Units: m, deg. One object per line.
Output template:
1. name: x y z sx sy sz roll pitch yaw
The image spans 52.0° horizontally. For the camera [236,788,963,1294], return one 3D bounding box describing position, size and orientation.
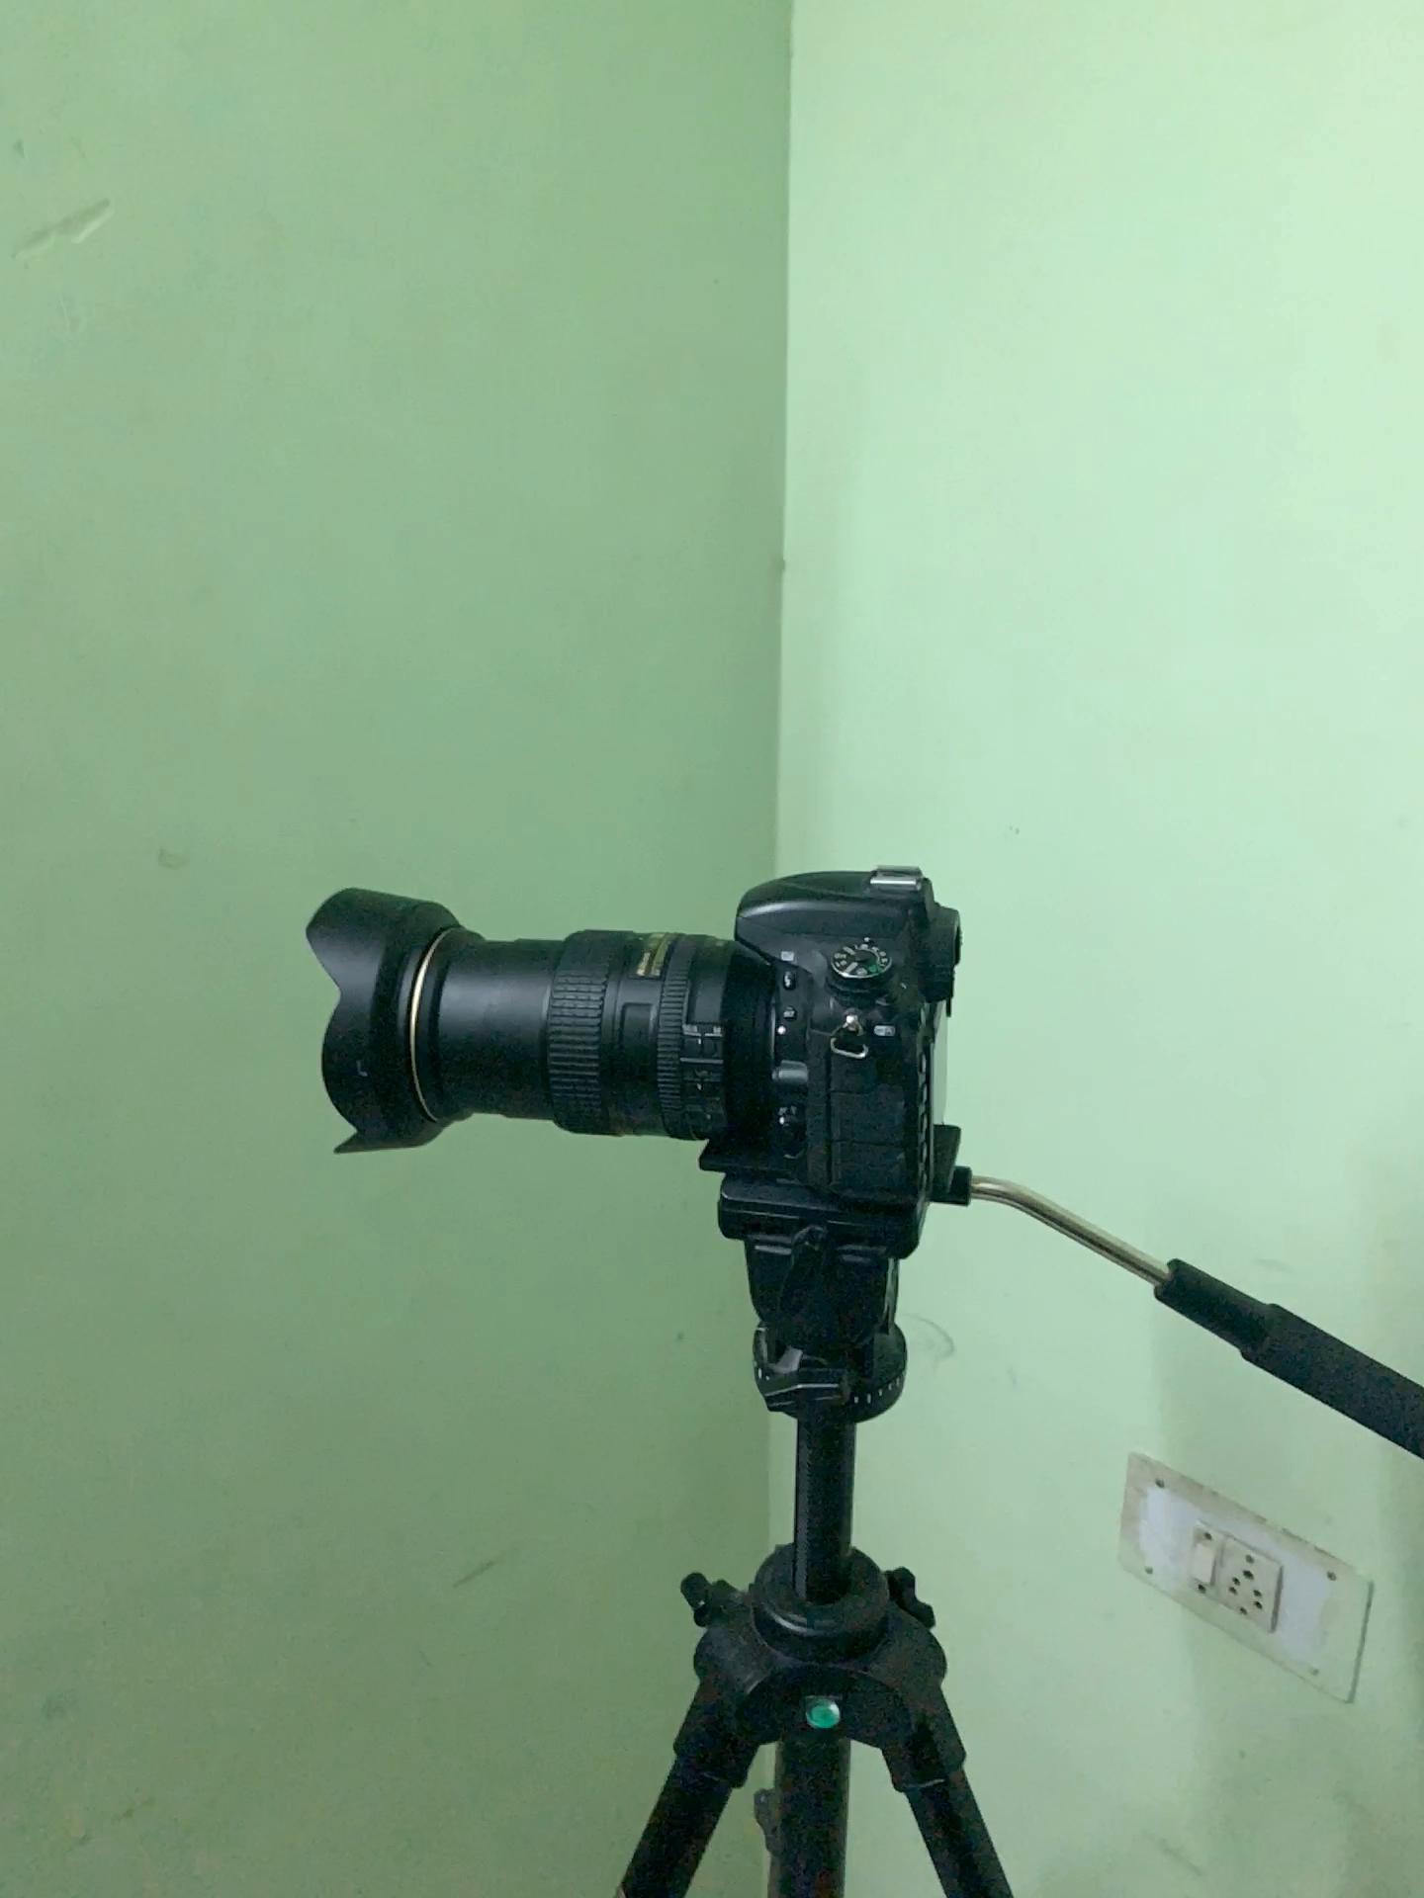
1. camera: -0.032 0.024 0.600 0.250 0.131 0.164 4 20 12
